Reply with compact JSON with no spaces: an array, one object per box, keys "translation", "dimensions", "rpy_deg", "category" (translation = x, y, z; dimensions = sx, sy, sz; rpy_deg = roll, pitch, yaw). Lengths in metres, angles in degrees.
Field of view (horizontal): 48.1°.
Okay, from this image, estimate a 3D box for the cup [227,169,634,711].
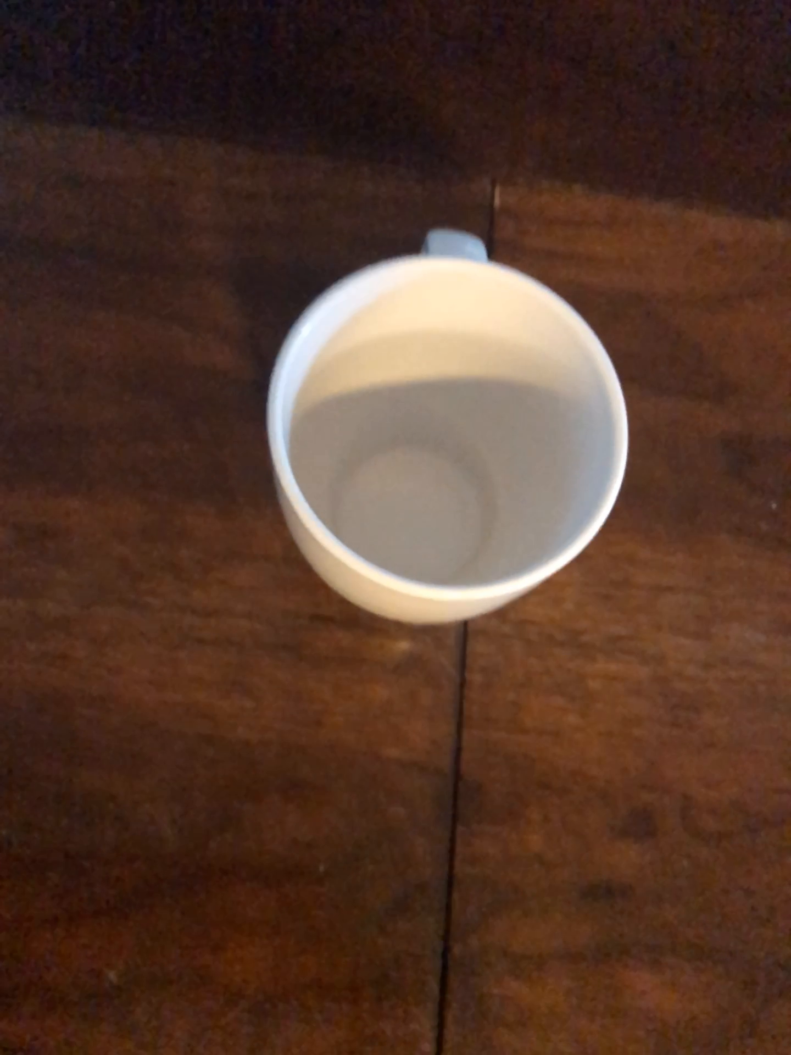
[{"translation":[0.010,-0.021,0.307],"dimensions":[0.110,0.100,0.150],"rpy_deg":[5,73,-4],"category":"cup"}]
